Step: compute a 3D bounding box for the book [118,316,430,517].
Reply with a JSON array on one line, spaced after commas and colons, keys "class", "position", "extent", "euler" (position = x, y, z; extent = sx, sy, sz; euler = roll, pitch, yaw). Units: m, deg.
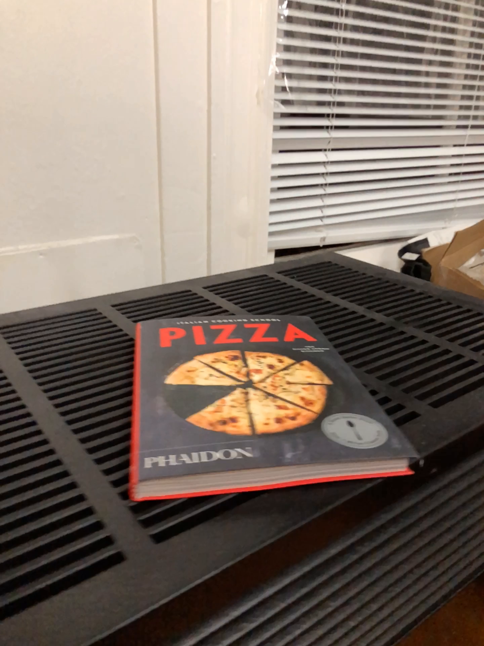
[{"class": "book", "position": [0.003, 0.050, 0.408], "extent": [0.180, 0.020, 0.231], "euler": [-3, 22, -10]}]
